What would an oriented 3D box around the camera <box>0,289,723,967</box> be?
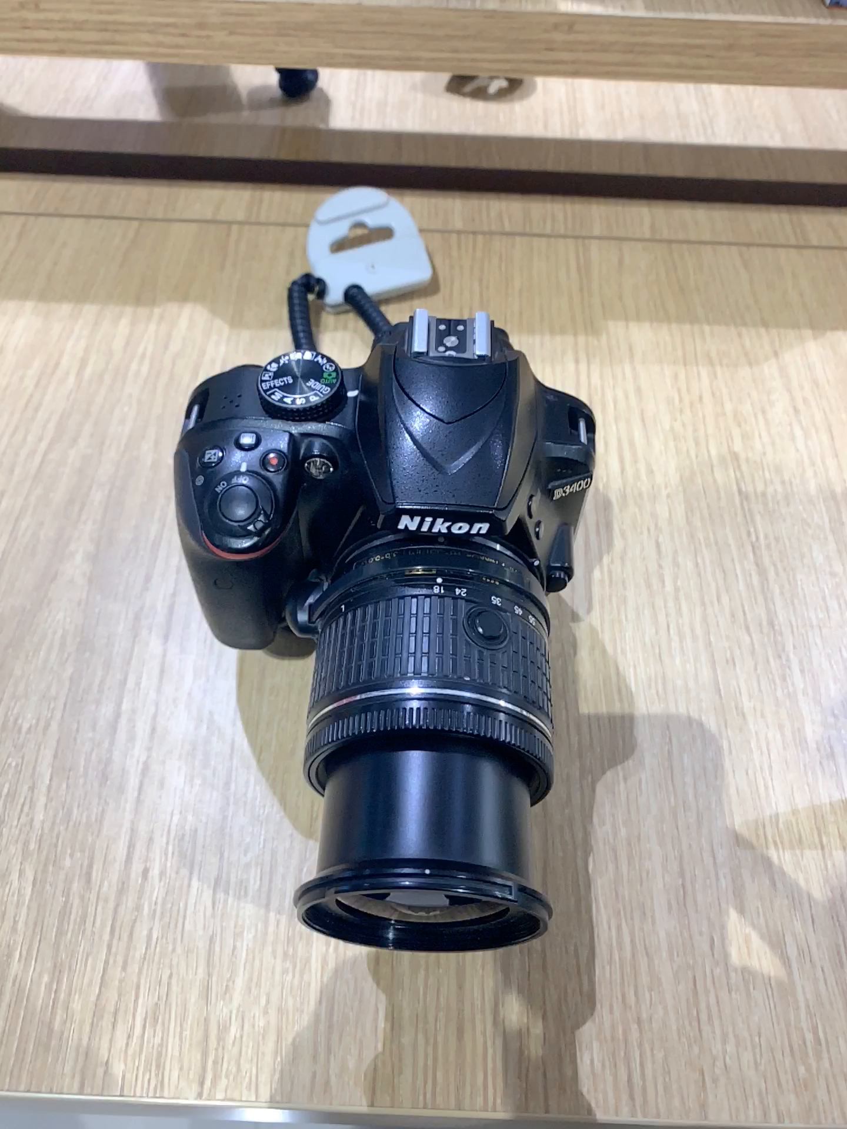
[{"bbox_3d":[-0.010,0.015,0.223,0.120,0.094,0.140,2,55,0],"label":"camera"}]
